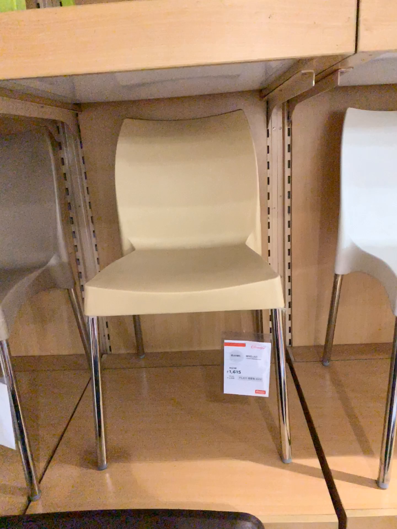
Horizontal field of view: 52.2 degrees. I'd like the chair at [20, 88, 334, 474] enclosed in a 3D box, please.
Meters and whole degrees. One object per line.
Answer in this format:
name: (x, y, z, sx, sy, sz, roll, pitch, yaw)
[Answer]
chair: (-0.029, 0.001, 1.095, 0.540, 0.807, 0.592, -1, 17, 0)
